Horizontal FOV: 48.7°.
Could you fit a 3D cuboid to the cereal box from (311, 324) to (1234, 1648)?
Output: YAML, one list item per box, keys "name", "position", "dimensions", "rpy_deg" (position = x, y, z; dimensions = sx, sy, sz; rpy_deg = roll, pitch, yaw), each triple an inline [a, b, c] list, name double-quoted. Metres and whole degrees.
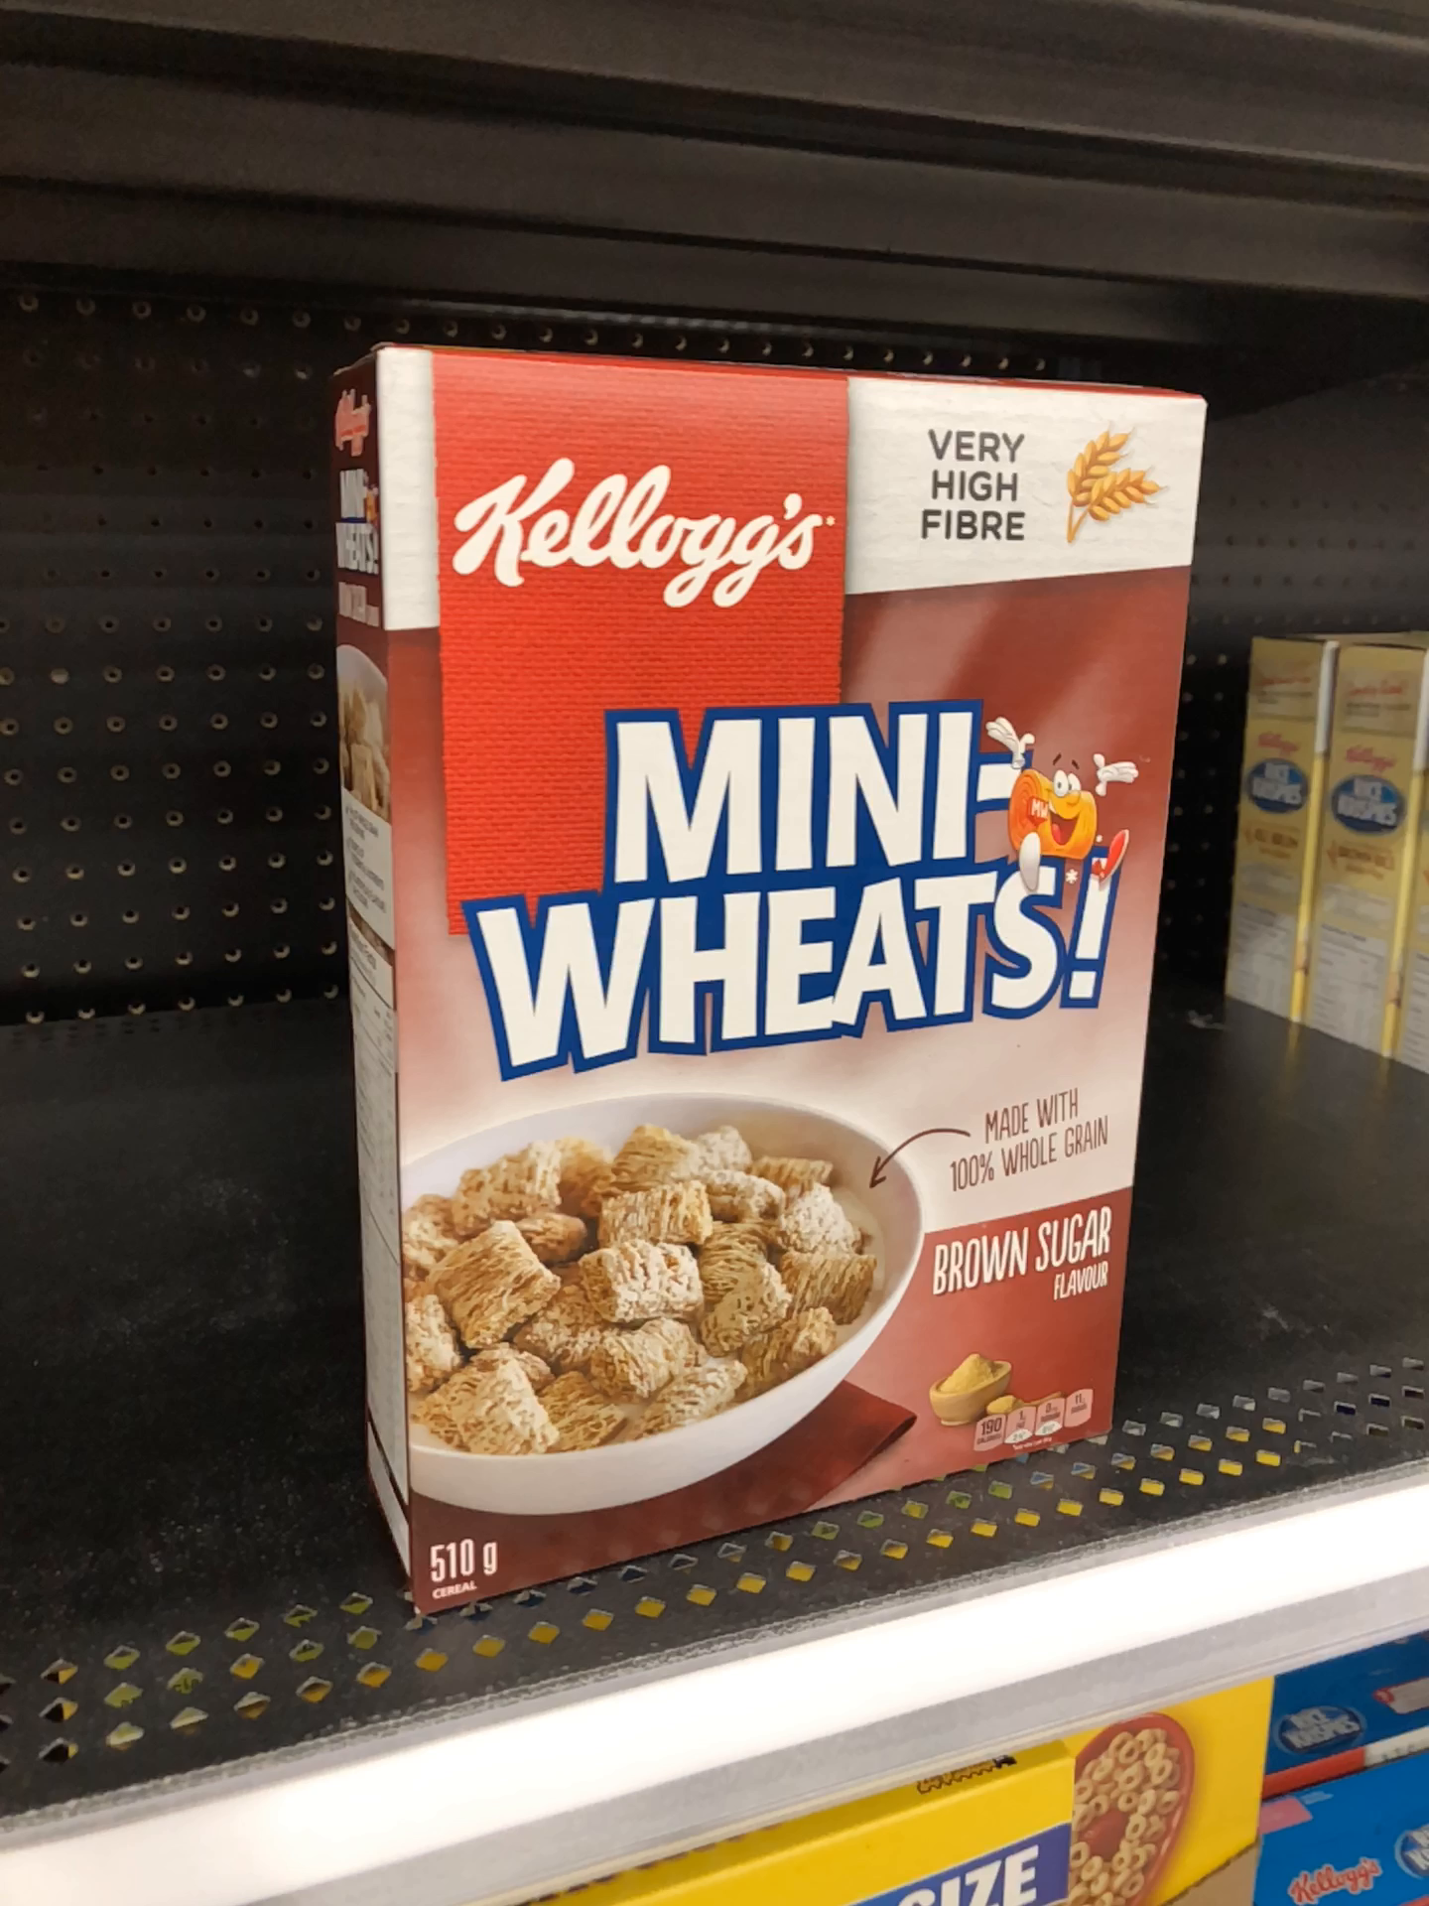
- name: "cereal box"
  position: [0.014, 0.004, 0.387]
  dimensions: [0.200, 0.279, 0.060]
  rpy_deg: [-5, 16, -24]
